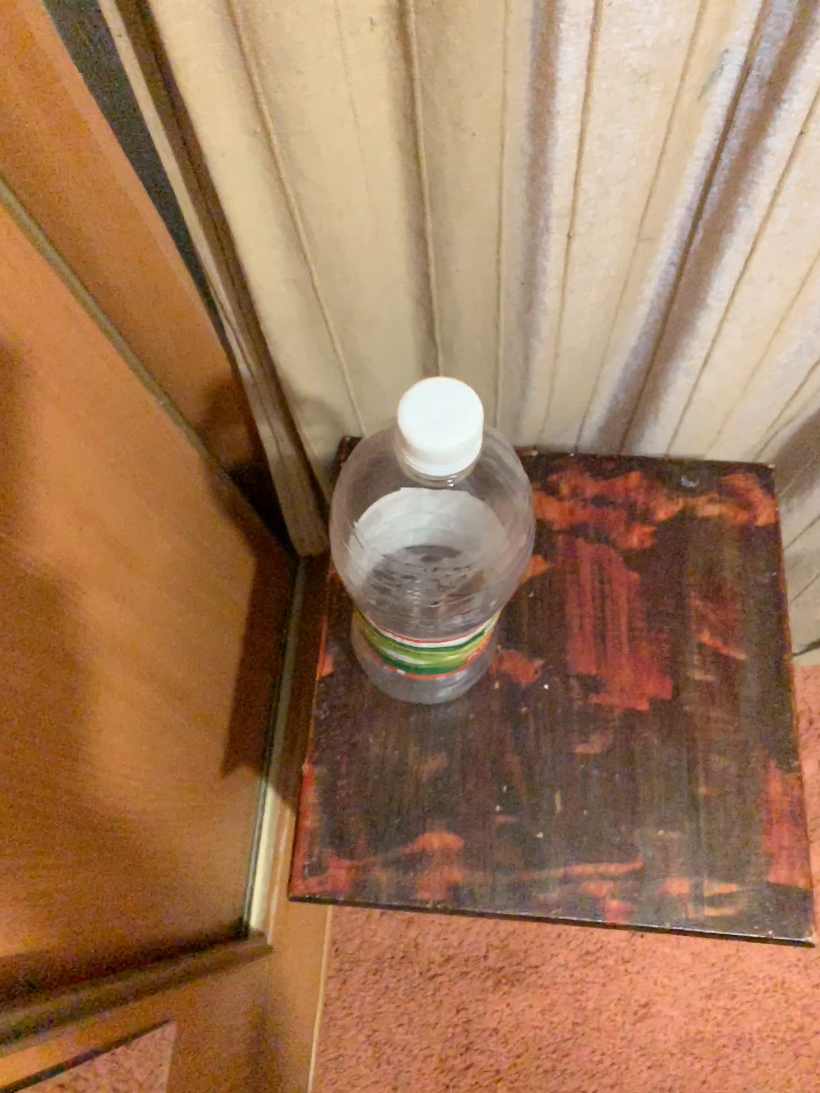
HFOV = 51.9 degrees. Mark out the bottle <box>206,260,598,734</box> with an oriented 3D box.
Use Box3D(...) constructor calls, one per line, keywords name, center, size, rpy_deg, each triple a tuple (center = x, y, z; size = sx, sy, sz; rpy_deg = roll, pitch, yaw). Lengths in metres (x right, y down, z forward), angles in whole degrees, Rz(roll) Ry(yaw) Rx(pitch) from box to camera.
Box3D(name="bottle", center=(0.006, 0.011, 0.427), size=(0.100, 0.319, 0.100), rpy_deg=(-1, 71, 2))
